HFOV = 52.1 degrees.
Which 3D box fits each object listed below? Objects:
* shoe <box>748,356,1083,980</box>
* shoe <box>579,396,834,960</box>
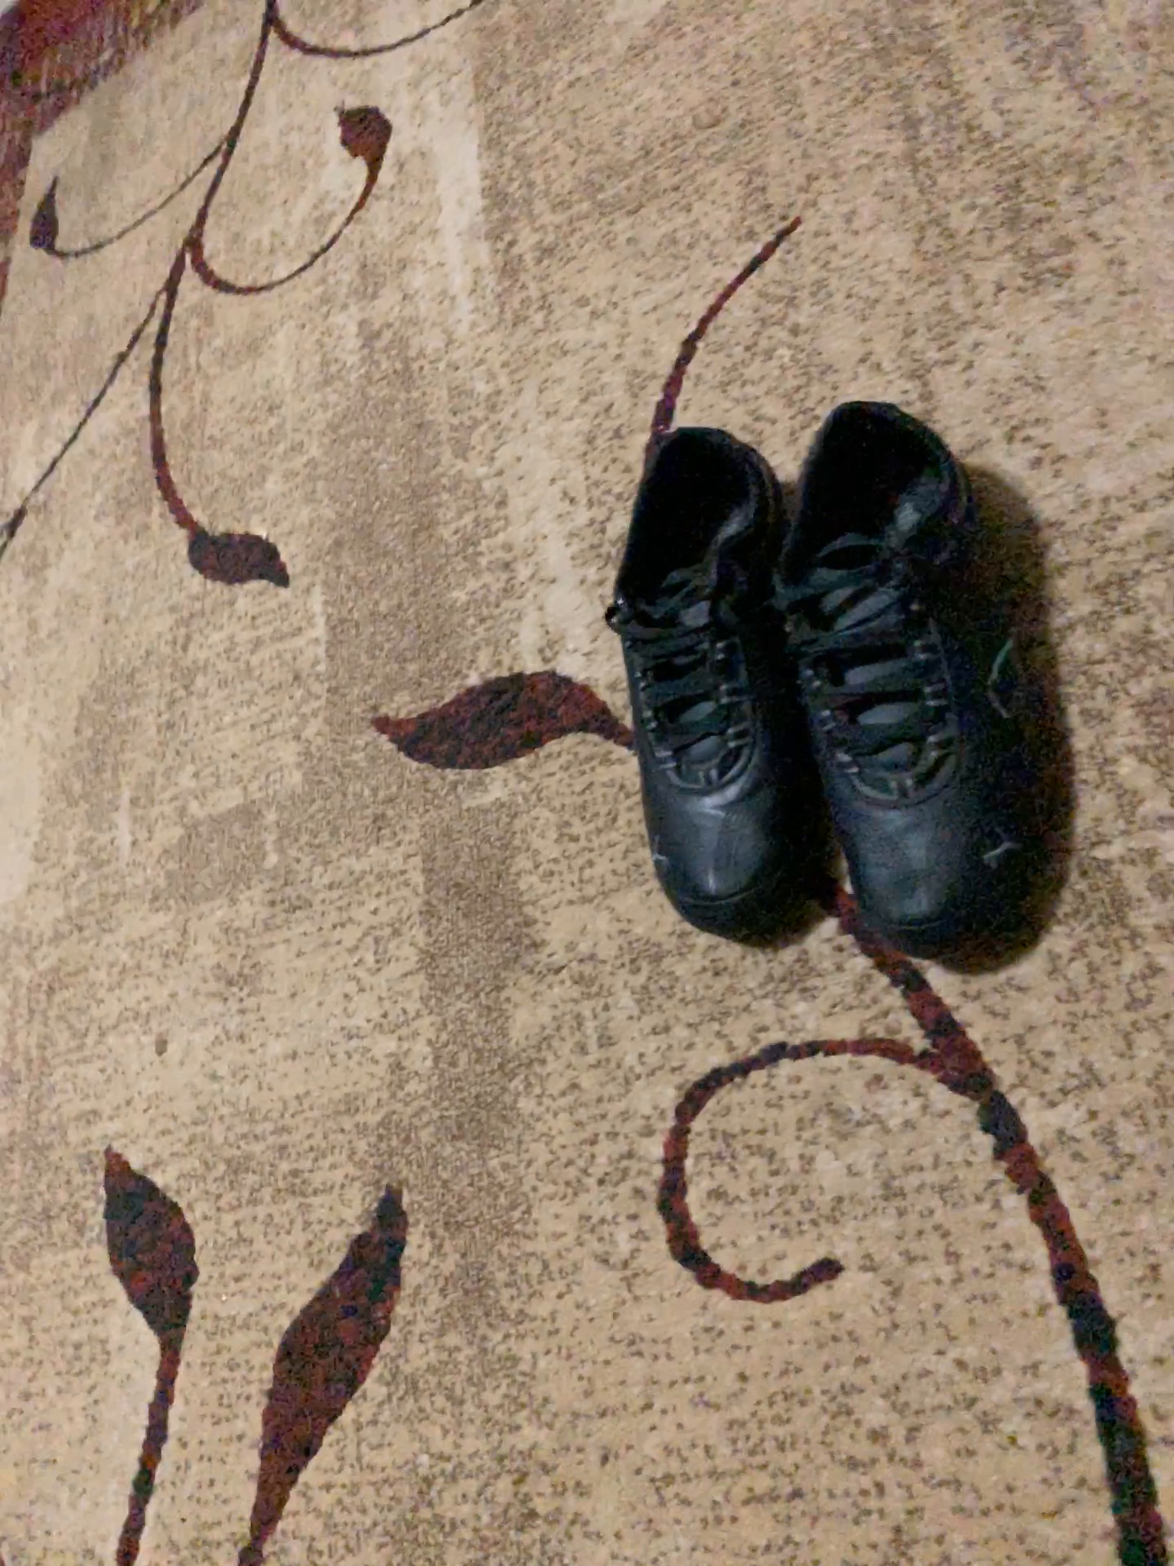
[{"bbox_3d":[0.134,-0.050,0.512,0.088,0.073,0.244,-15,61,27],"label":"shoe"},{"bbox_3d":[0.057,-0.049,0.563,0.086,0.073,0.244,-11,64,29],"label":"shoe"}]
